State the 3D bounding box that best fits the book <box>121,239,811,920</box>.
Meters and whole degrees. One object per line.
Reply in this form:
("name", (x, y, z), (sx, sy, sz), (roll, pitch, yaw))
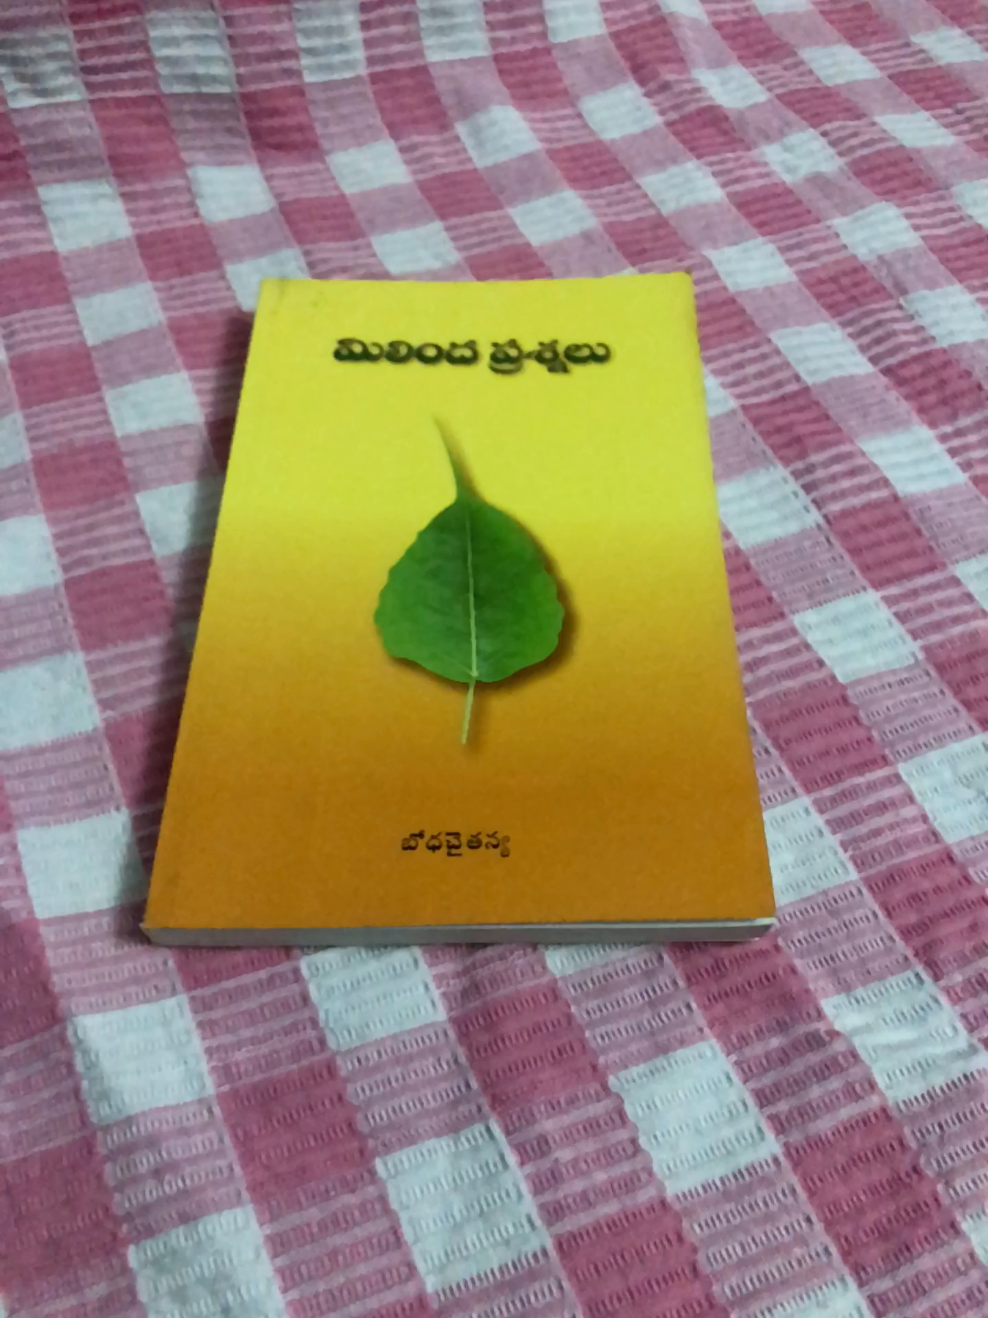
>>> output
("book", (-0.006, -0.038, 0.307), (0.150, 0.020, 0.221), (0, 57, 0))
